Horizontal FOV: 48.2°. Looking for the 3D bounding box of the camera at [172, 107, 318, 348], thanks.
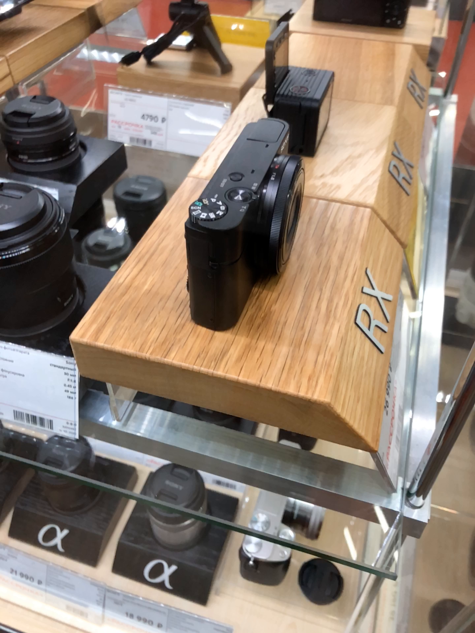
[{"bbox_3d":[0.008,-0.047,0.259,0.037,0.062,0.106,12,46,11],"label":"camera"}]
